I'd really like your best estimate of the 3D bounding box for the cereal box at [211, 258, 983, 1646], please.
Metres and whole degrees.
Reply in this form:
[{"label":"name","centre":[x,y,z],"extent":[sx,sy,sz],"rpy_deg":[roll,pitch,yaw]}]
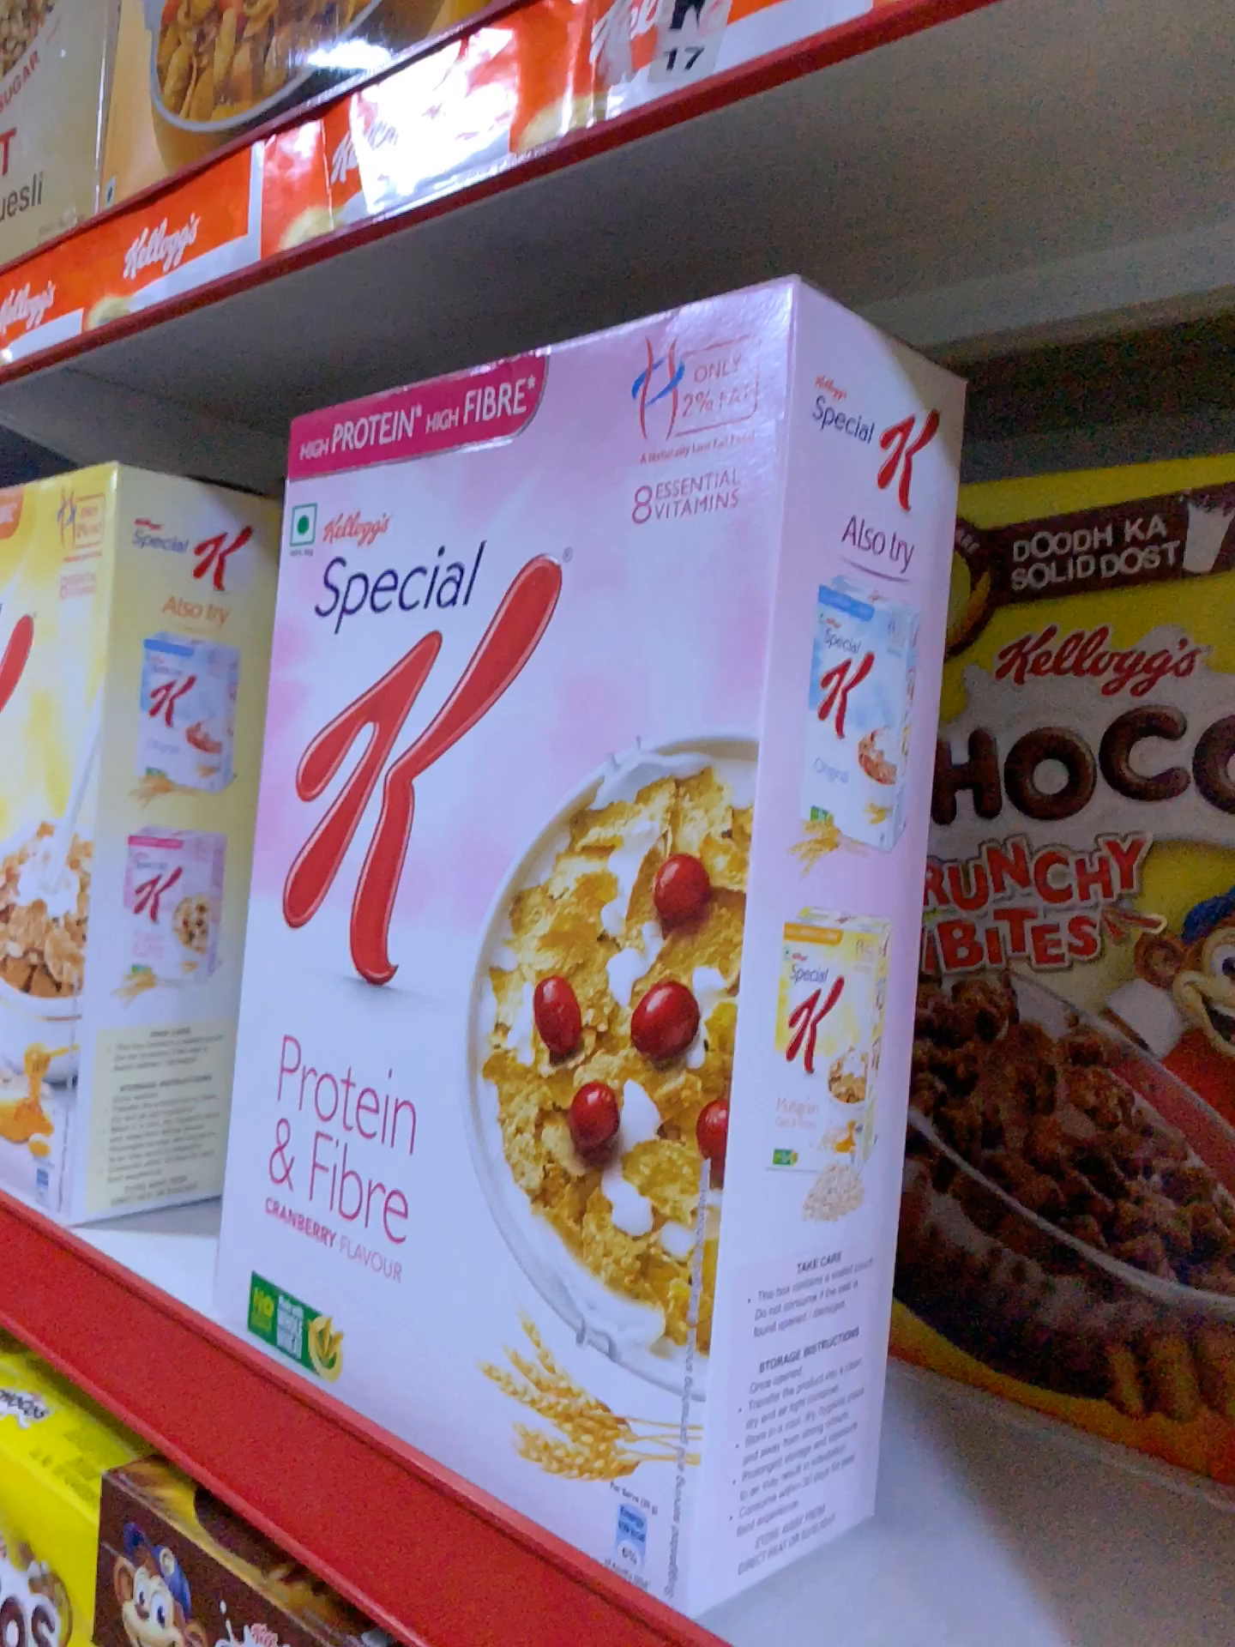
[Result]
[{"label":"cereal box","centre":[-0.016,0.018,0.302],"extent":[0.170,0.240,0.060],"rpy_deg":[4,0,44]}]
